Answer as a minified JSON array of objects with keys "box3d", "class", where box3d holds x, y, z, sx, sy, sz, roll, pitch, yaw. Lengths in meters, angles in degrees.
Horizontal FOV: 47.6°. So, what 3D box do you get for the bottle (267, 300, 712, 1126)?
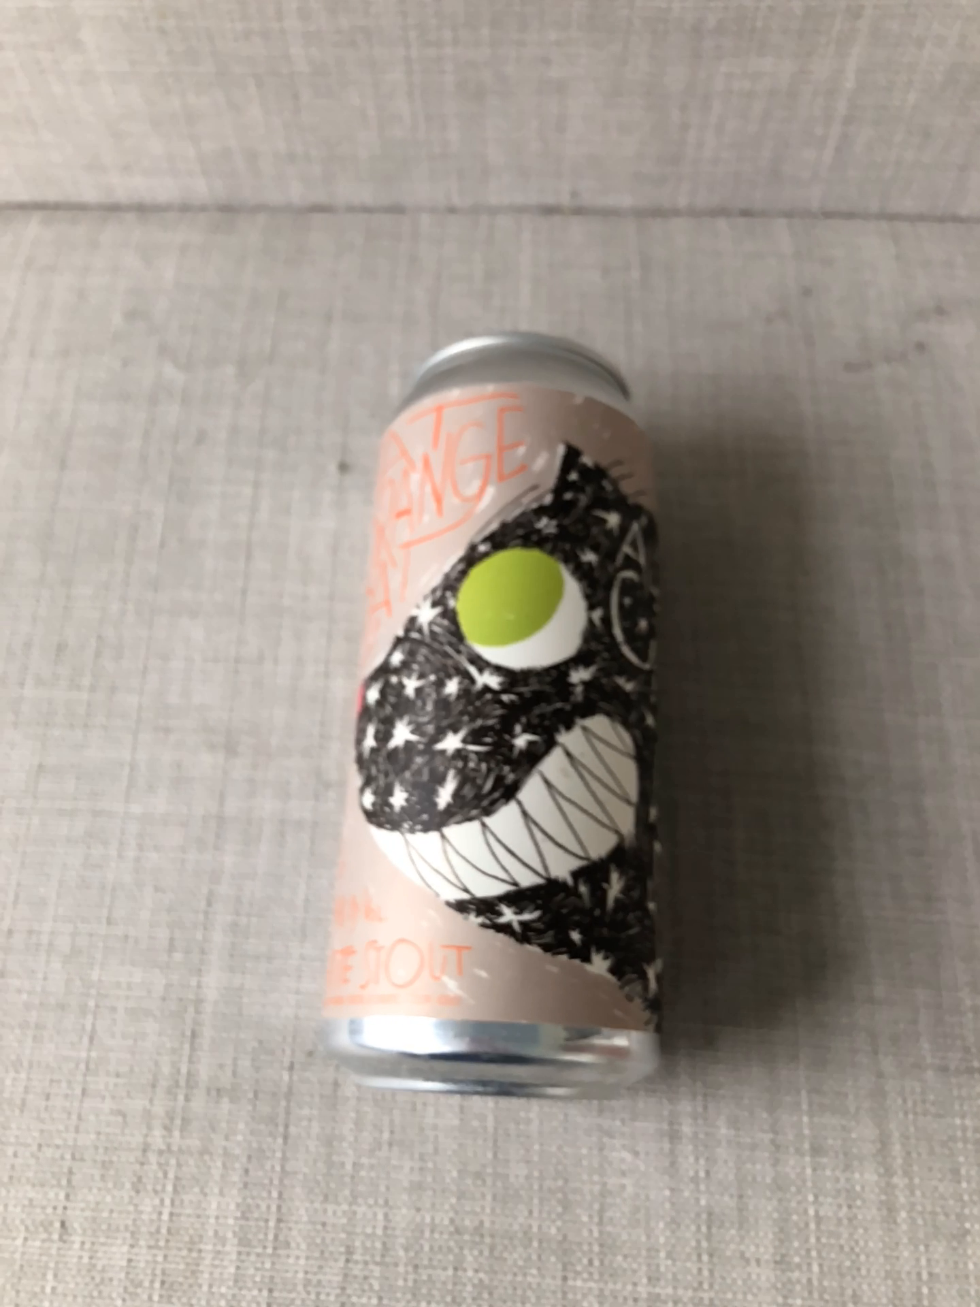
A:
[{"box3d":[0.002,0.013,0.232,0.070,0.070,0.151,2,72,0],"class":"bottle"}]
